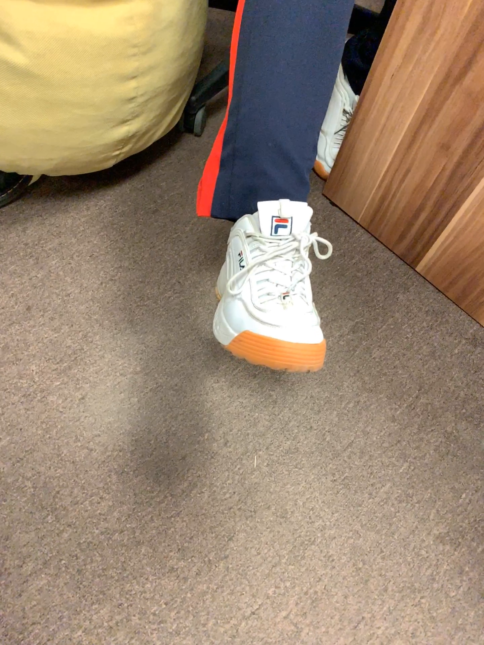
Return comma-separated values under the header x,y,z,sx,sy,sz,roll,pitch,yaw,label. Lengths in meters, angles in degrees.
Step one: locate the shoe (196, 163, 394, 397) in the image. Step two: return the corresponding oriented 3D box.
x,y,z,sx,sy,sz,roll,pitch,yaw,label
0.035,-0.054,0.527,0.130,0.130,0.231,6,36,-15,shoe
